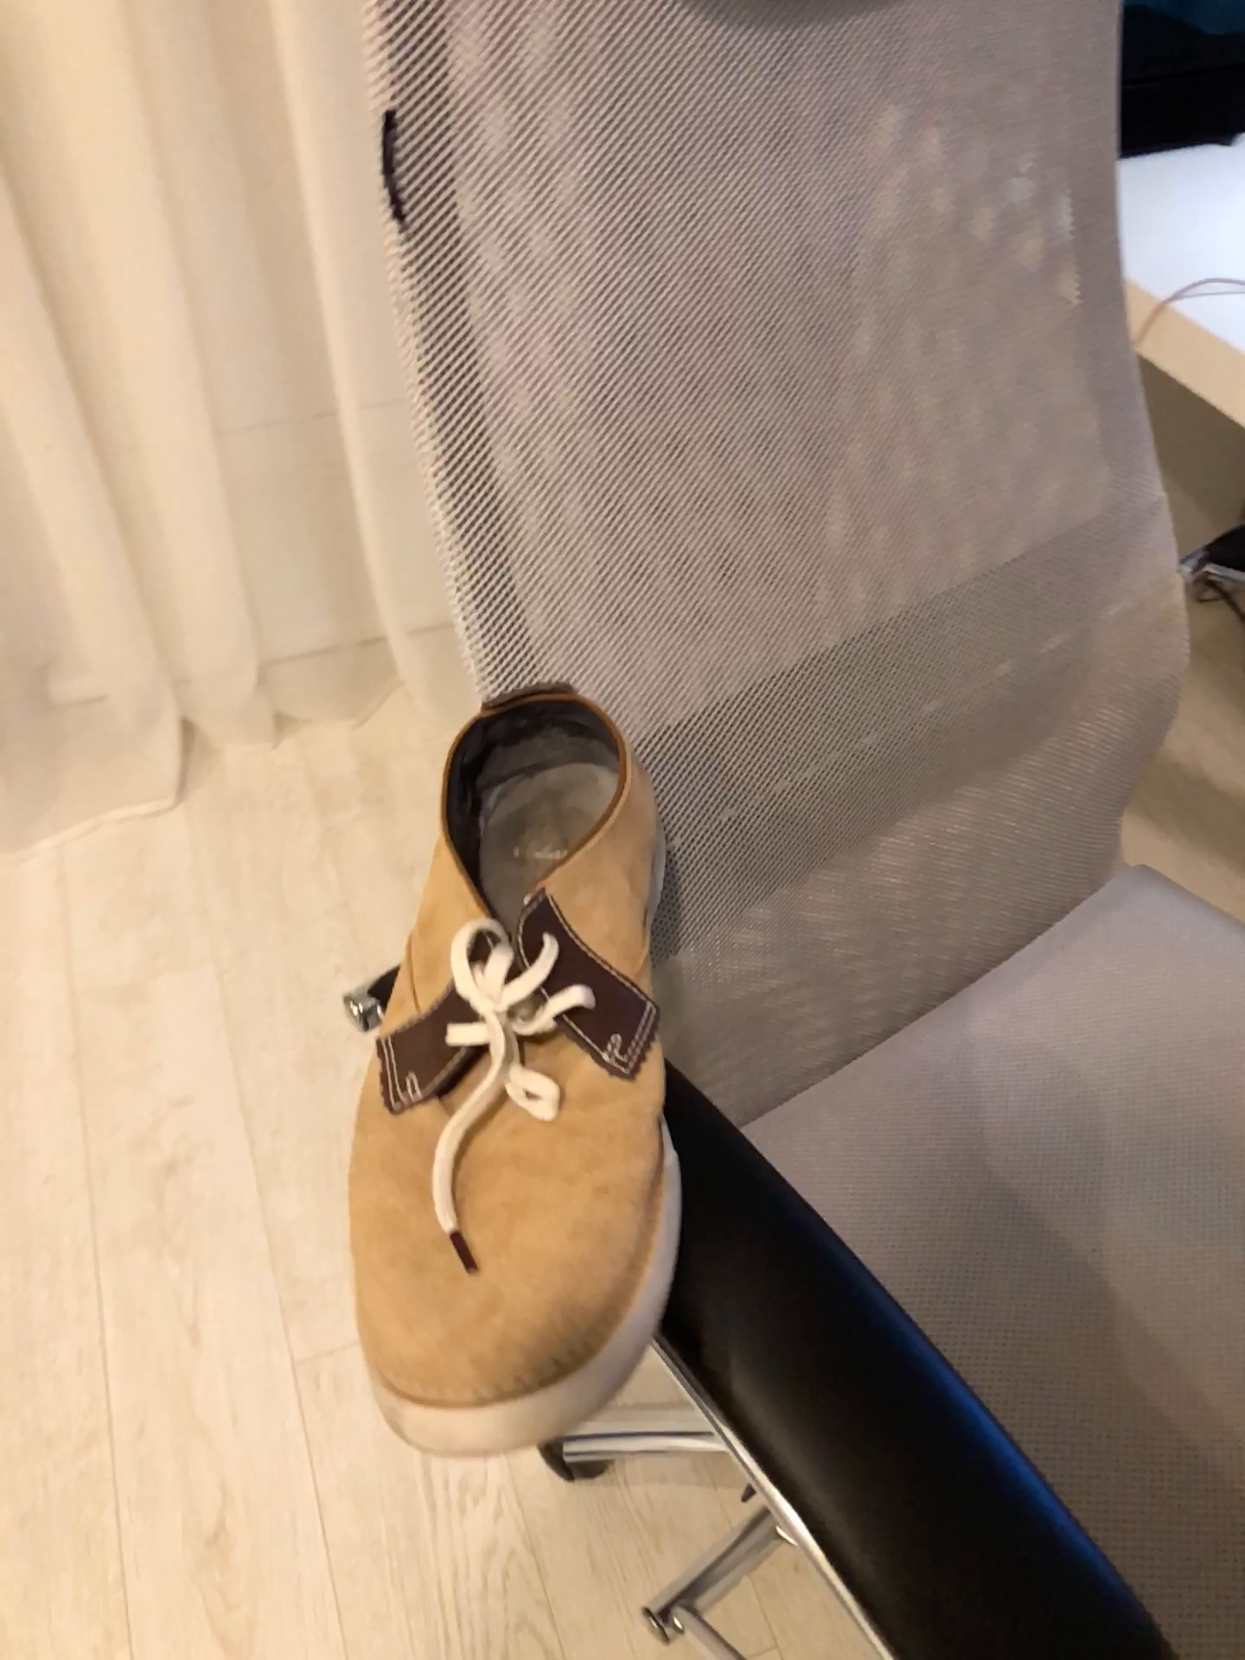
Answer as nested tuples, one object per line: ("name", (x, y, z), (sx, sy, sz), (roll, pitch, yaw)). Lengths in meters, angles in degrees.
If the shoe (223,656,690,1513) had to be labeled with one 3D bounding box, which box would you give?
("shoe", (-0.037, 0.064, 0.489), (0.120, 0.079, 0.312), (0, 44, 2))
